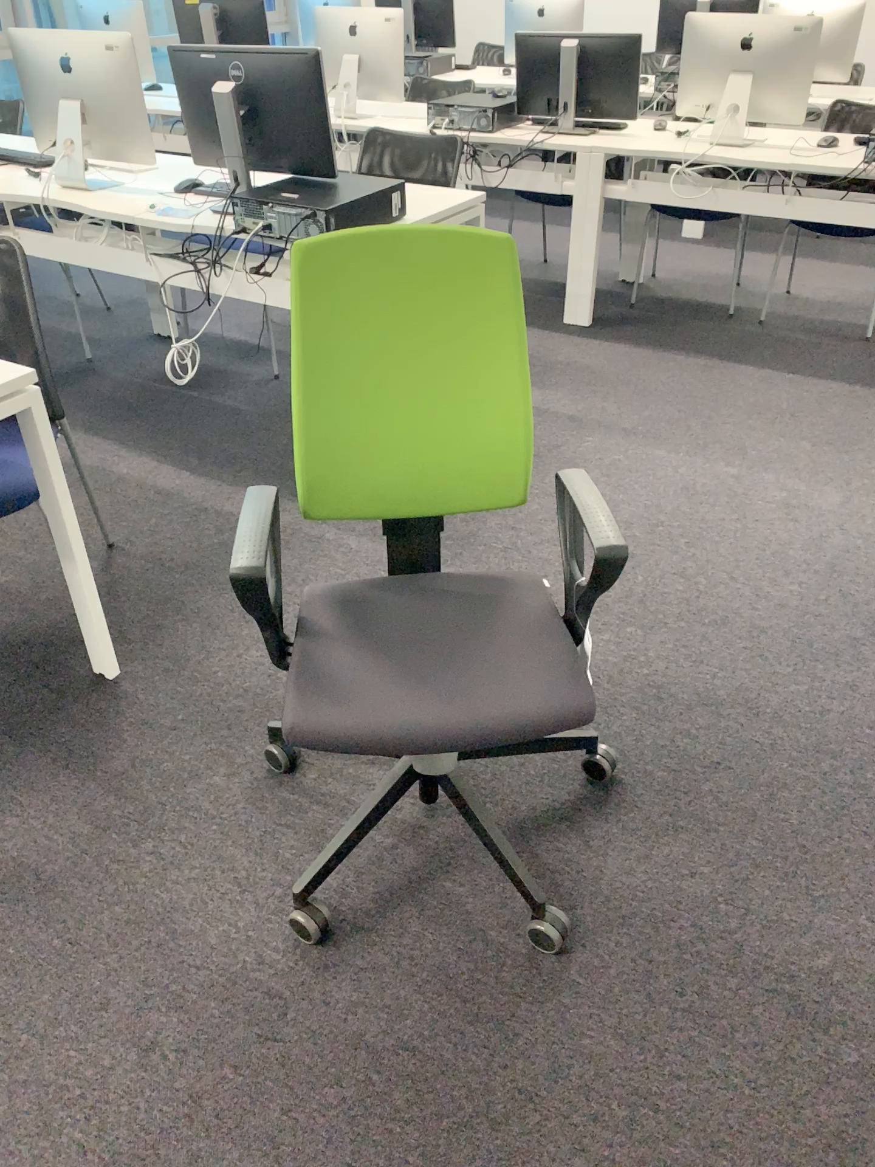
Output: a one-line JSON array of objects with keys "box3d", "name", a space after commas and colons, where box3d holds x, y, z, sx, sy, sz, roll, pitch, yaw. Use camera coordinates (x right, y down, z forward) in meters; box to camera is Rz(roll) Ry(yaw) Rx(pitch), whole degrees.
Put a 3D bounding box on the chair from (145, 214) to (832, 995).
[{"box3d": [0.024, 0.032, 1.497, 0.720, 1.054, 0.674, -5, 36, -6], "name": "chair"}]
